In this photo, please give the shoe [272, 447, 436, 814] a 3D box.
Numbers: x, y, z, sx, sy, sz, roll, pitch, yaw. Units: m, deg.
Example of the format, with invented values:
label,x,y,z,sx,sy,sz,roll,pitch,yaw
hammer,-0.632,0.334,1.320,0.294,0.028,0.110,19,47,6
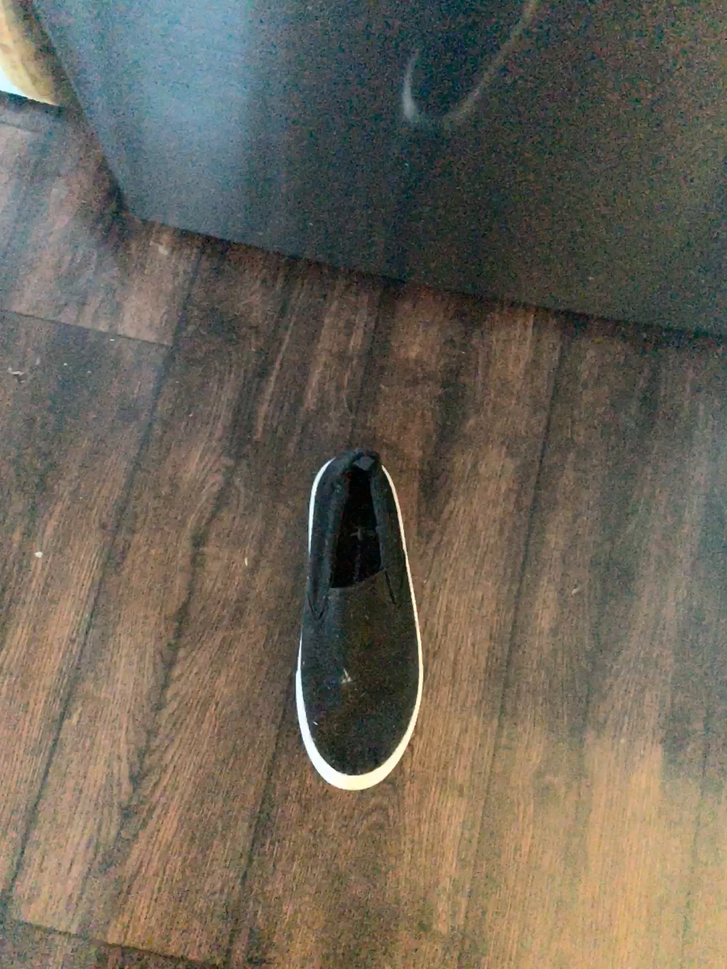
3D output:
label,x,y,z,sx,sy,sz,roll,pitch,yaw
shoe,-0.005,0.101,0.536,0.100,0.080,0.239,3,78,-2
